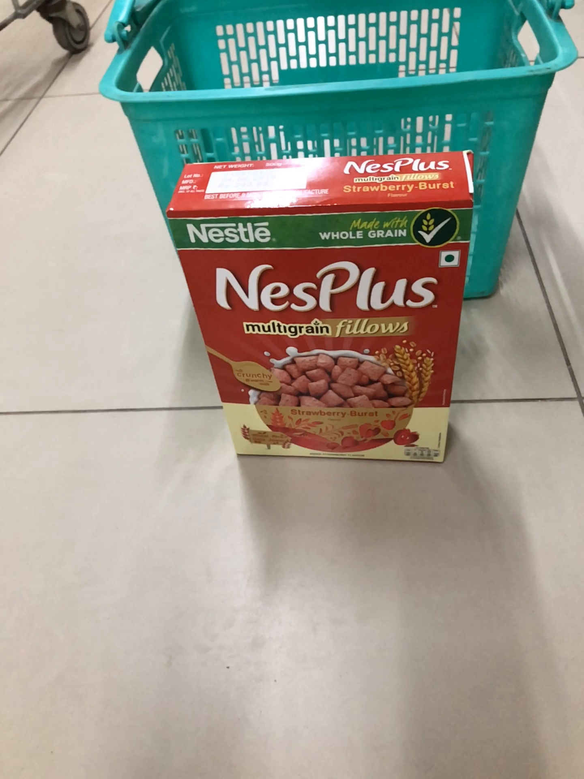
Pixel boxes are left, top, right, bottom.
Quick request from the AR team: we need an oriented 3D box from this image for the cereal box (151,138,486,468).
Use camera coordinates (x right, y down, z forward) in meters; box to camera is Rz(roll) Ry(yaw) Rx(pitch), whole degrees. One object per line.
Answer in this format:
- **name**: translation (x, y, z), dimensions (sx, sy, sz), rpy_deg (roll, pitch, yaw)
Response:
- **cereal box**: translation (0.027, -0.046, 0.480), dimensions (0.190, 0.258, 0.060), rpy_deg (2, 48, 9)
